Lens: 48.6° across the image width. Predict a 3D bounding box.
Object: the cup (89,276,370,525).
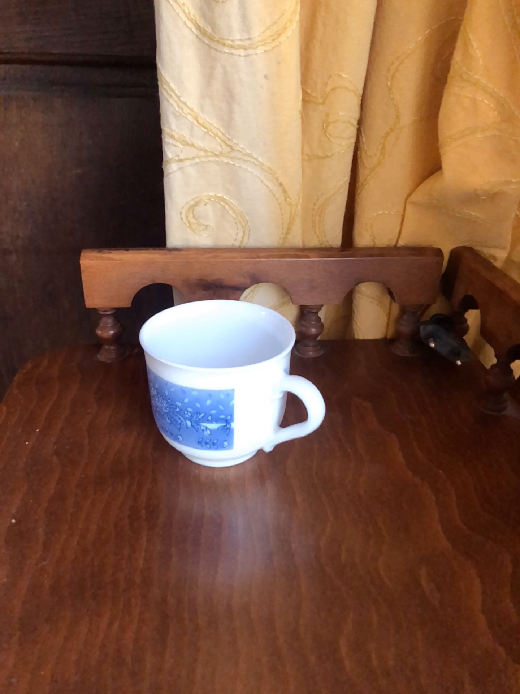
[{"bbox_3d":[-0.014,0.017,0.276,0.100,0.060,0.080,20,33,32],"label":"cup"}]
